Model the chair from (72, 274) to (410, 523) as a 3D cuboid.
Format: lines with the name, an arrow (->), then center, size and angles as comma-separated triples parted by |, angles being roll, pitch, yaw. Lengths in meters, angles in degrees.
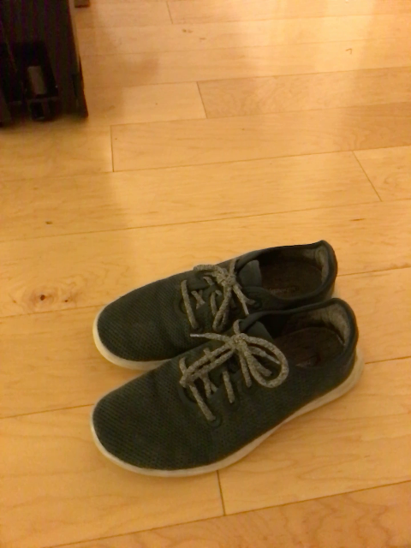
chair -> 0.038, 0.117, 0.449 | 0.301, 0.099, 0.110 | -19, 55, -16

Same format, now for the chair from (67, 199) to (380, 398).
chair -> 0.022, 0.023, 0.512 | 0.321, 0.099, 0.100 | -18, 63, -16
